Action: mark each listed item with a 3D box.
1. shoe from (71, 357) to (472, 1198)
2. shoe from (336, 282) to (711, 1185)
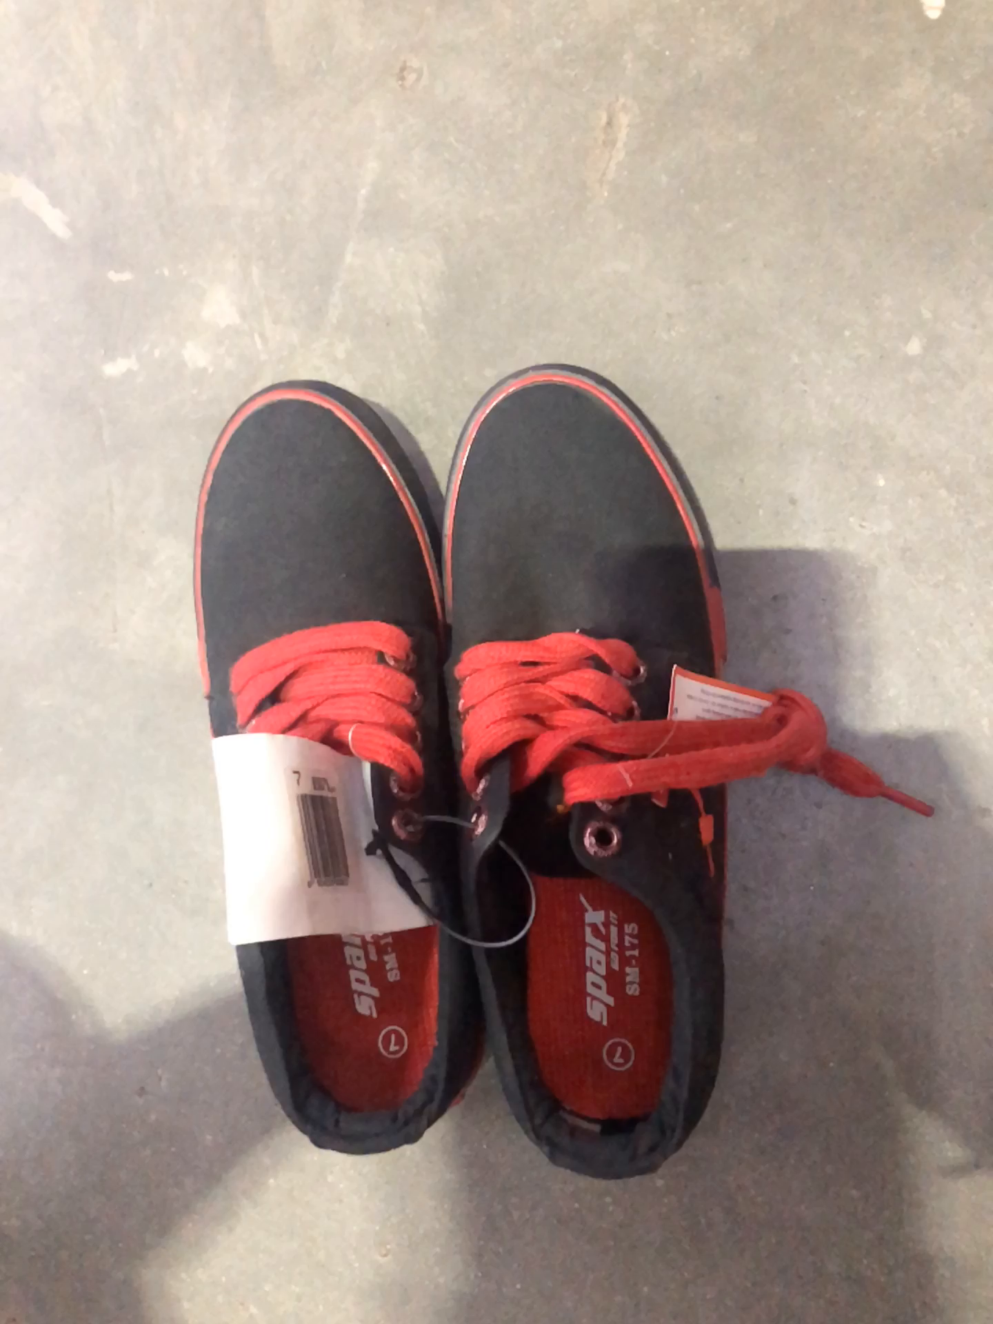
[{"bbox_3d":[-0.075,0.035,0.390,0.100,0.100,0.250,-6,85,-5],"label":"shoe"},{"bbox_3d":[0.014,0.021,0.363,0.100,0.100,0.250,-3,86,11],"label":"shoe"}]
